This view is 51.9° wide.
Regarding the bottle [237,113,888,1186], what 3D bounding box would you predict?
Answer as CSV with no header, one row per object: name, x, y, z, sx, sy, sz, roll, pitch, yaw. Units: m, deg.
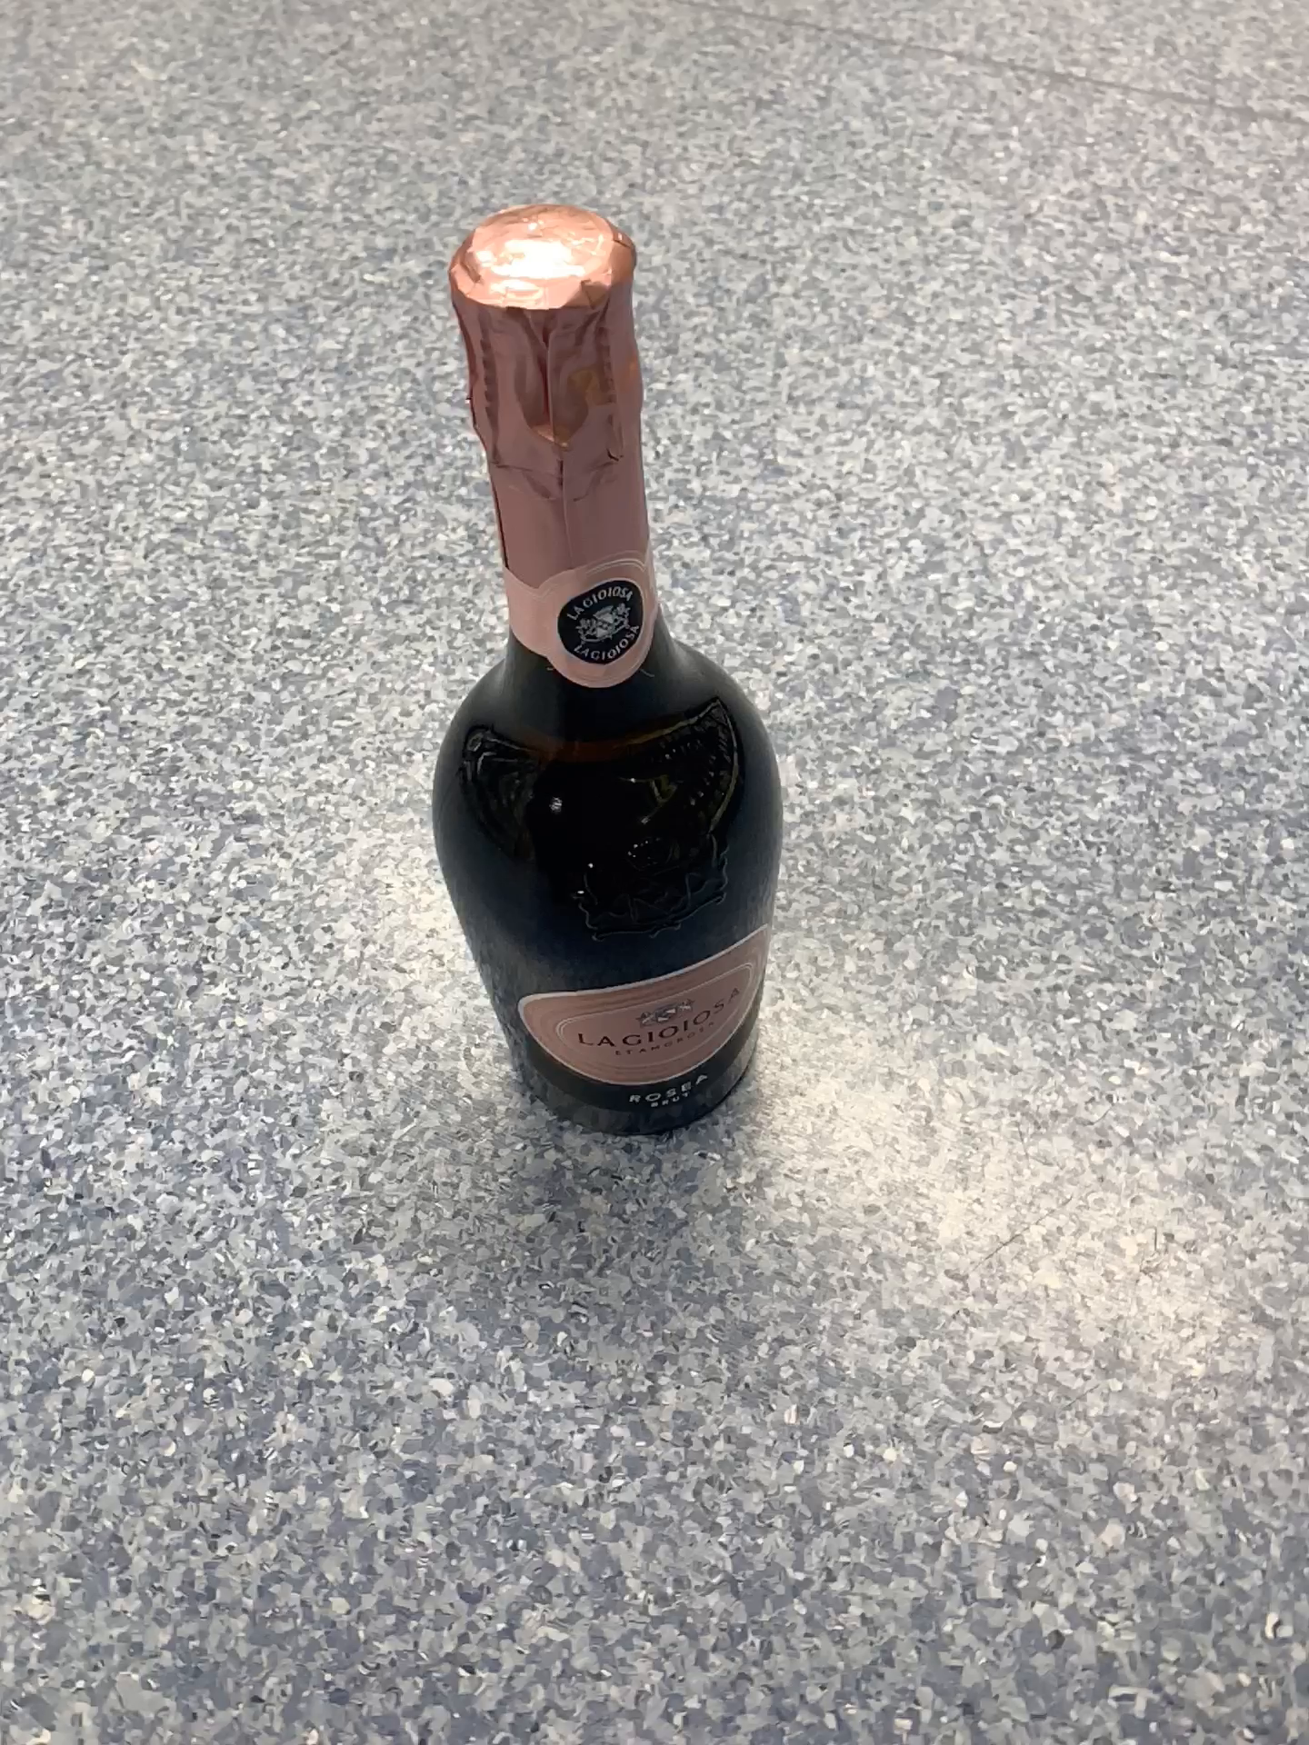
bottle,-0.013,-0.025,0.338,0.094,0.269,0.079,-16,55,-8
